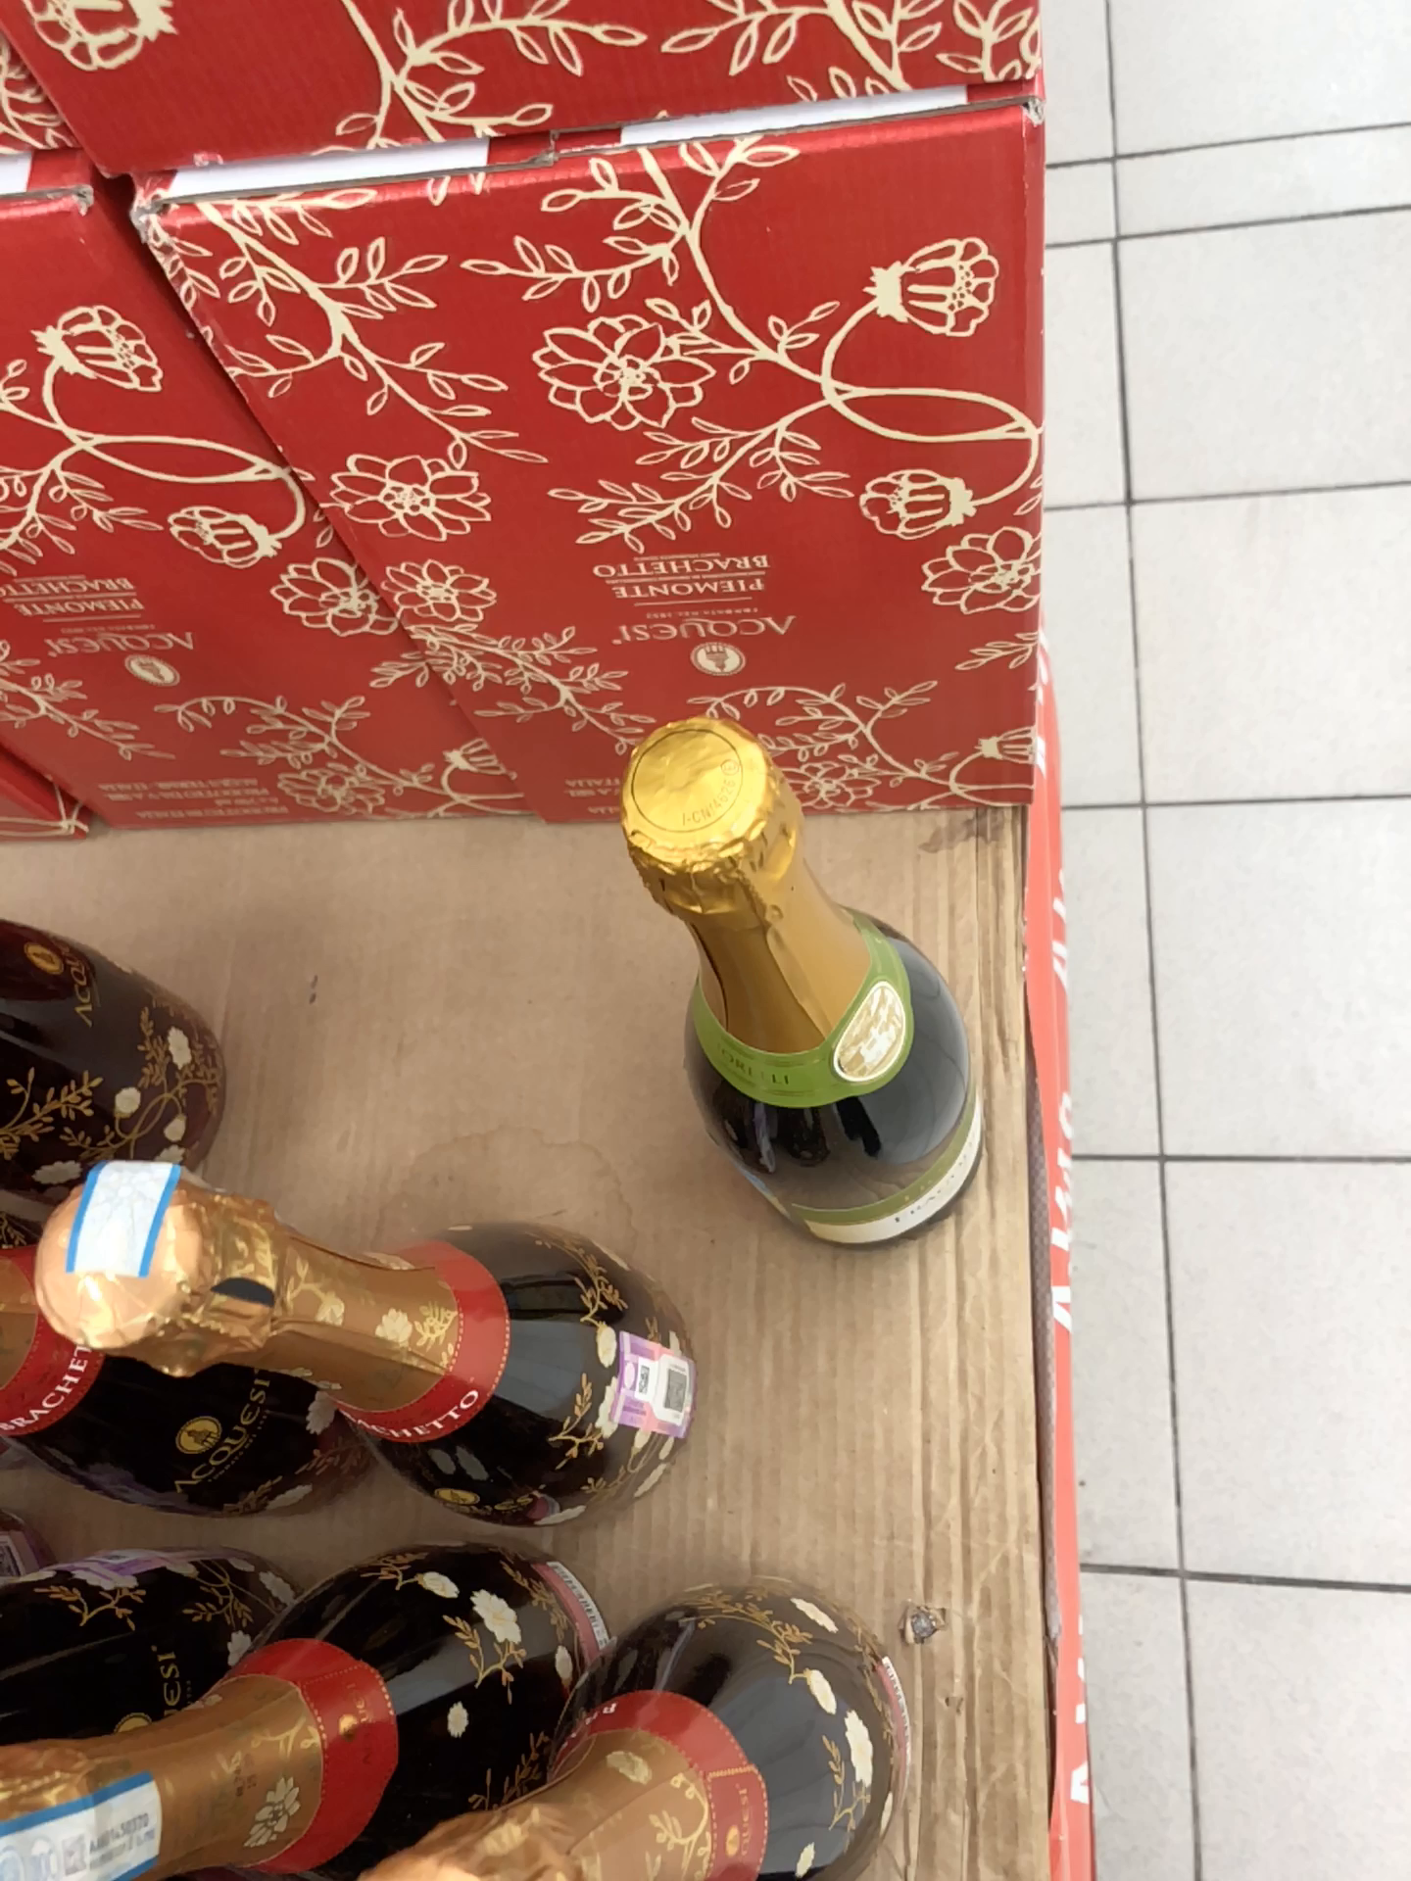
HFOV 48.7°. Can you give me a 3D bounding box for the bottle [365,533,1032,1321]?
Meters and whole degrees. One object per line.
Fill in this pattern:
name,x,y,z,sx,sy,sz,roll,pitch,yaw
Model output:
bottle,0.025,0.024,0.424,0.090,0.289,0.090,-4,70,11
